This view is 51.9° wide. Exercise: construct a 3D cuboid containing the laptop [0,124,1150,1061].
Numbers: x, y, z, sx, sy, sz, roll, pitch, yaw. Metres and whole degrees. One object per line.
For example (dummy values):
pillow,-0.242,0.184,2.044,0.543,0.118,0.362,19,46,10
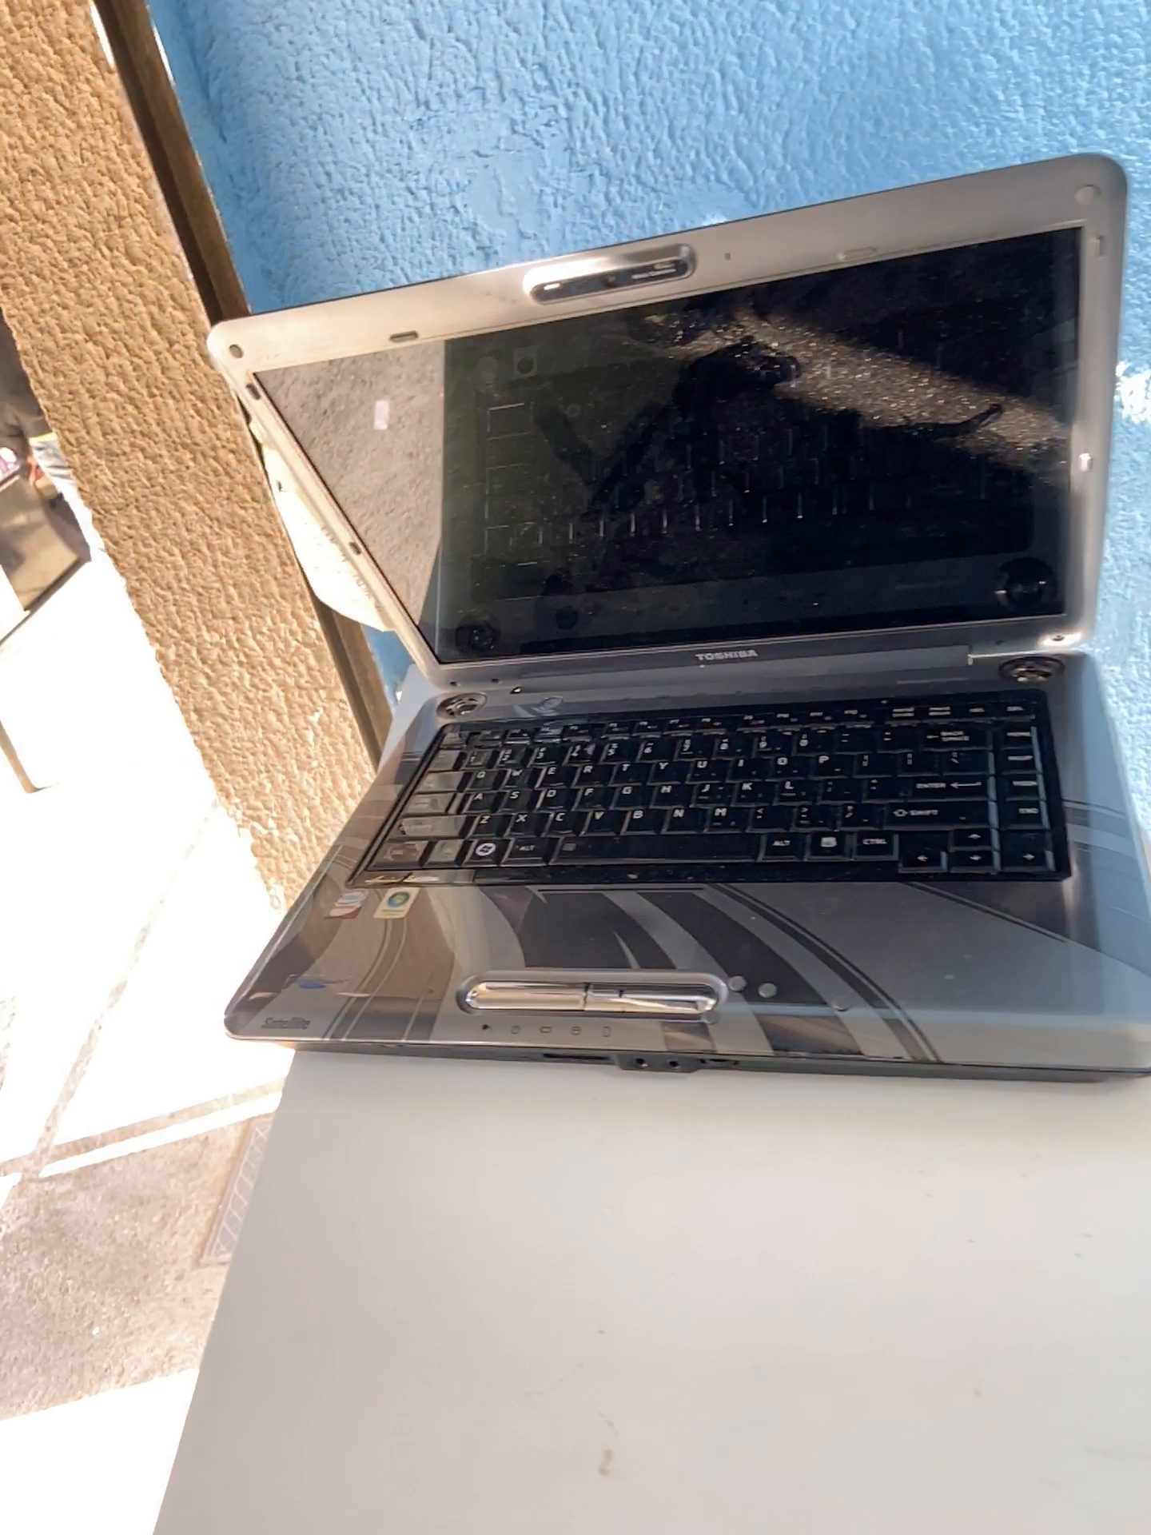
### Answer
laptop,0.027,-0.072,0.474,0.358,0.235,0.260,-3,33,19
